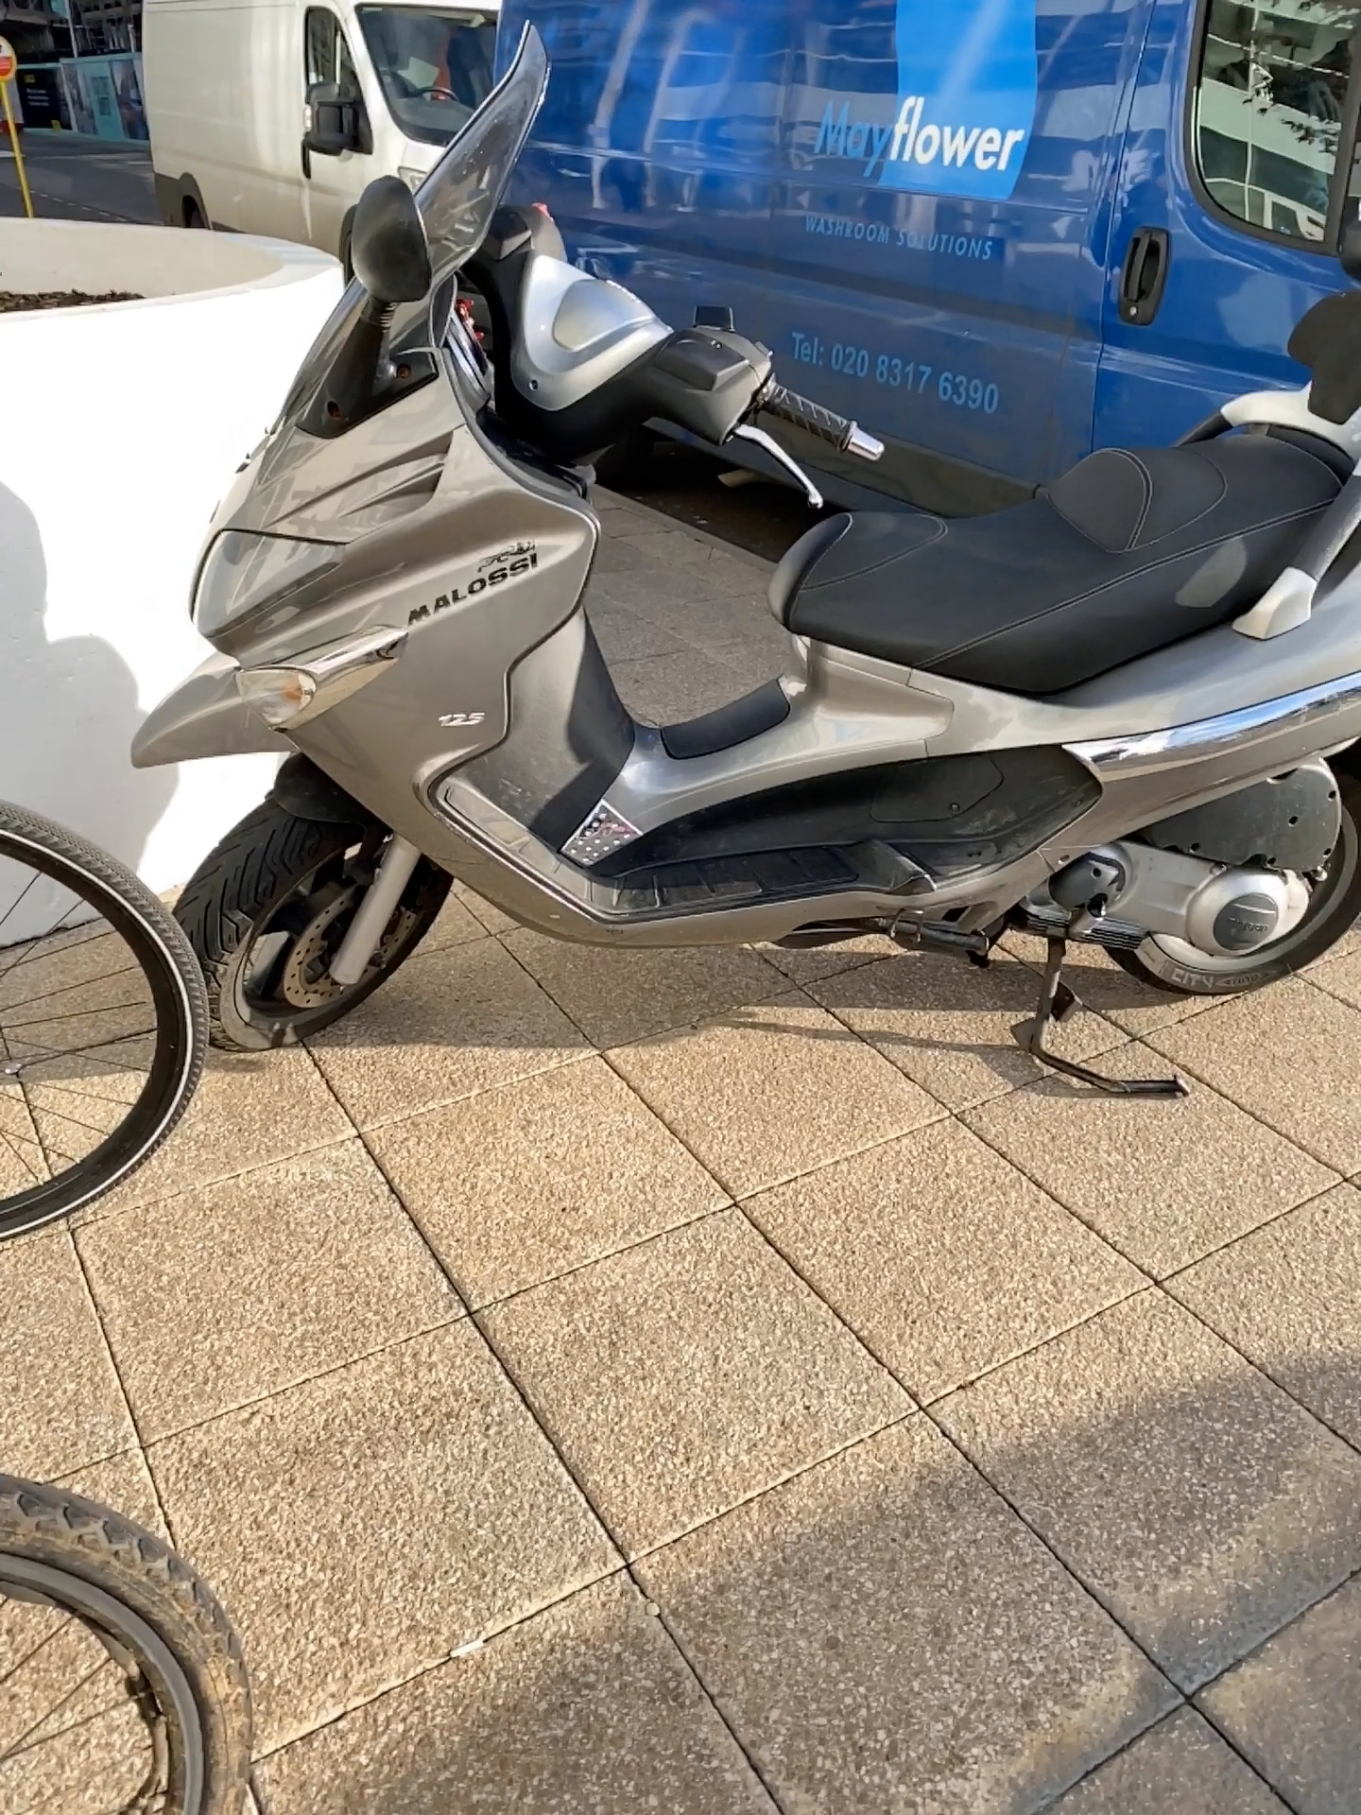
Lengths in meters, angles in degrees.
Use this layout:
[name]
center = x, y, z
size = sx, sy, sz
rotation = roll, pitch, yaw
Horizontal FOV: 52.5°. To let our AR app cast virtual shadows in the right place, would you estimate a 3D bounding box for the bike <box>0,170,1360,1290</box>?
[bike]
center = 0.207, -0.285, 1.713
size = 1.654, 1.062, 0.658
rotation = -5, 30, -12
